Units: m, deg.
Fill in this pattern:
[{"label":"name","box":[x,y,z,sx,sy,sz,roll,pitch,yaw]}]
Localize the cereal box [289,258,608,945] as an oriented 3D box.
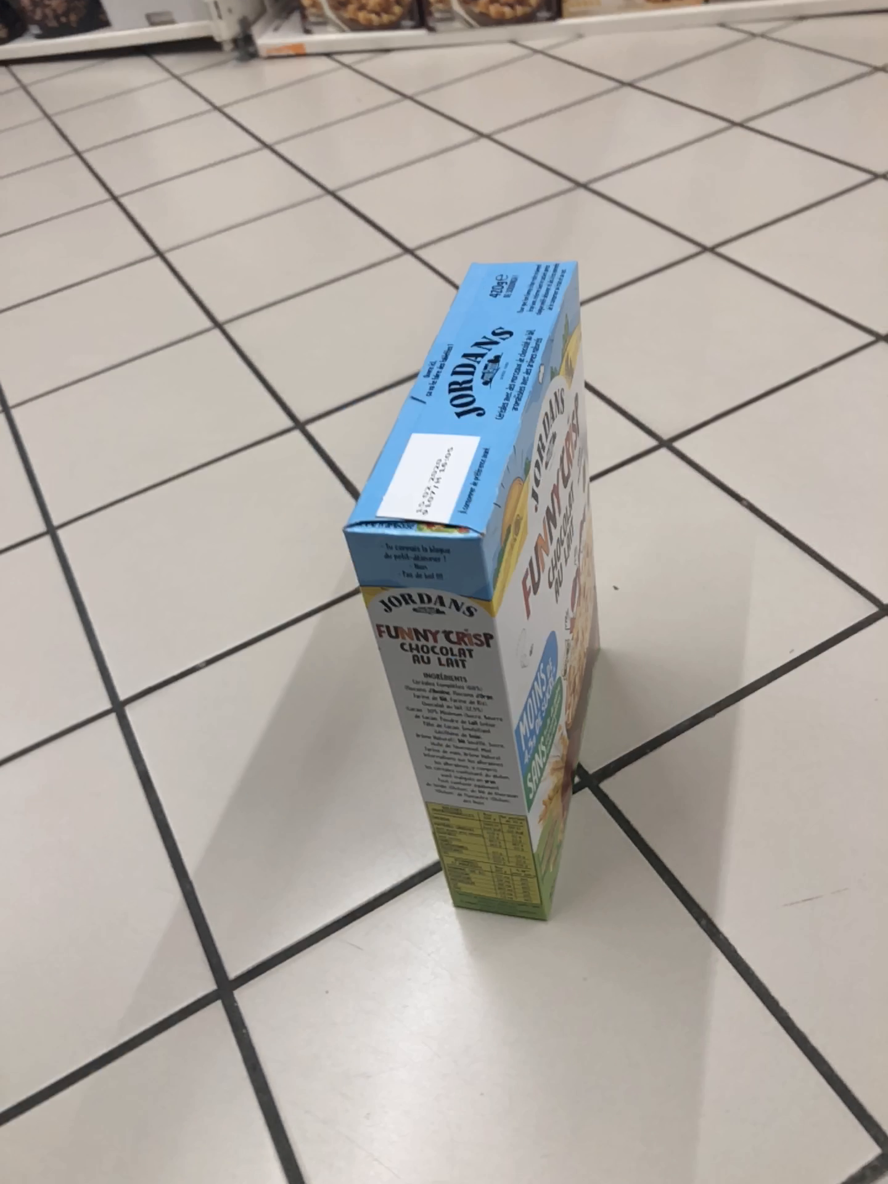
[{"label":"cereal box","box":[0.023,0.008,0.421,0.060,0.229,0.181,4,46,17]}]
